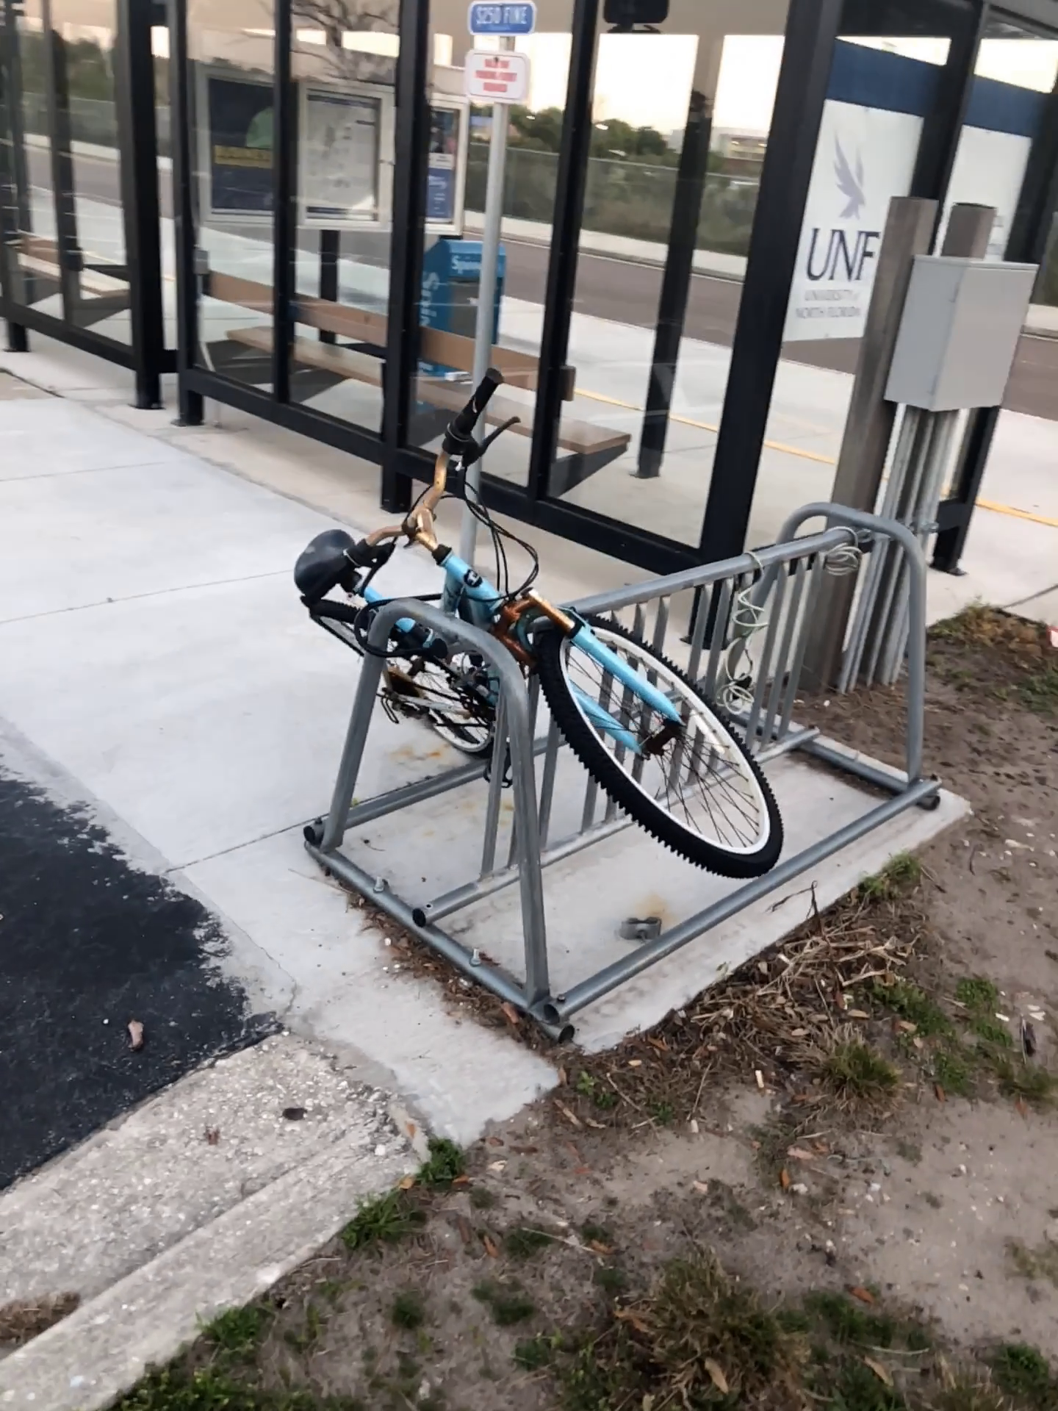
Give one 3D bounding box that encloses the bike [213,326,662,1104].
[{"bbox_3d":[-0.264,-0.073,2.150,0.548,1.128,0.942,-4,25,-21],"label":"bike"}]
